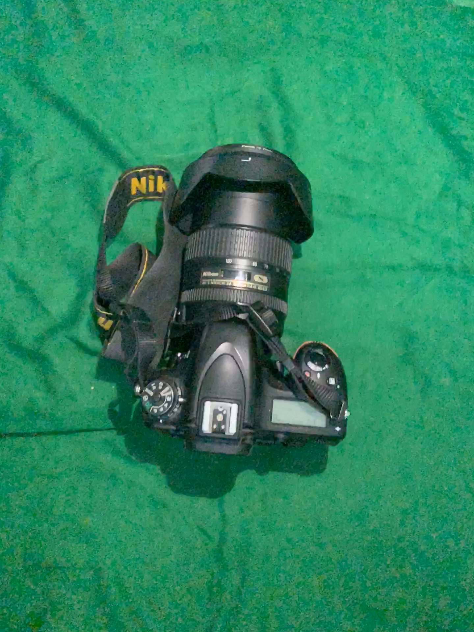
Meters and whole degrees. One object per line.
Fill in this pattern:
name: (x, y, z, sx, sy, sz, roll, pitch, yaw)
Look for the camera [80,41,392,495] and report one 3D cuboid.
camera: (0.010, -0.036, 0.360, 0.170, 0.100, 0.290, 6, 76, 1)
